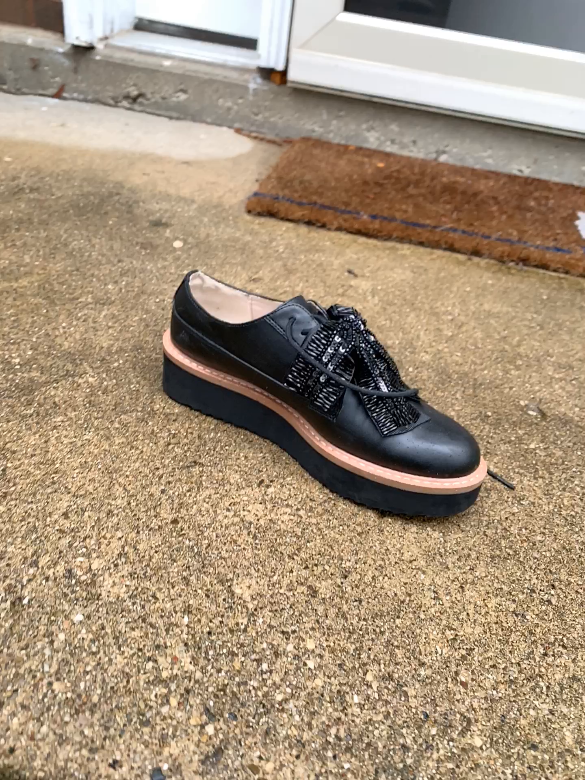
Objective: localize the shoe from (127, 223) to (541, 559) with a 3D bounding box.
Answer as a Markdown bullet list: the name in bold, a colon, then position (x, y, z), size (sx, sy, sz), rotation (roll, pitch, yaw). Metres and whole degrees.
- **shoe**: position (0.019, -0.013, 0.435), size (0.258, 0.120, 0.107), rotation (23, 36, 19)
